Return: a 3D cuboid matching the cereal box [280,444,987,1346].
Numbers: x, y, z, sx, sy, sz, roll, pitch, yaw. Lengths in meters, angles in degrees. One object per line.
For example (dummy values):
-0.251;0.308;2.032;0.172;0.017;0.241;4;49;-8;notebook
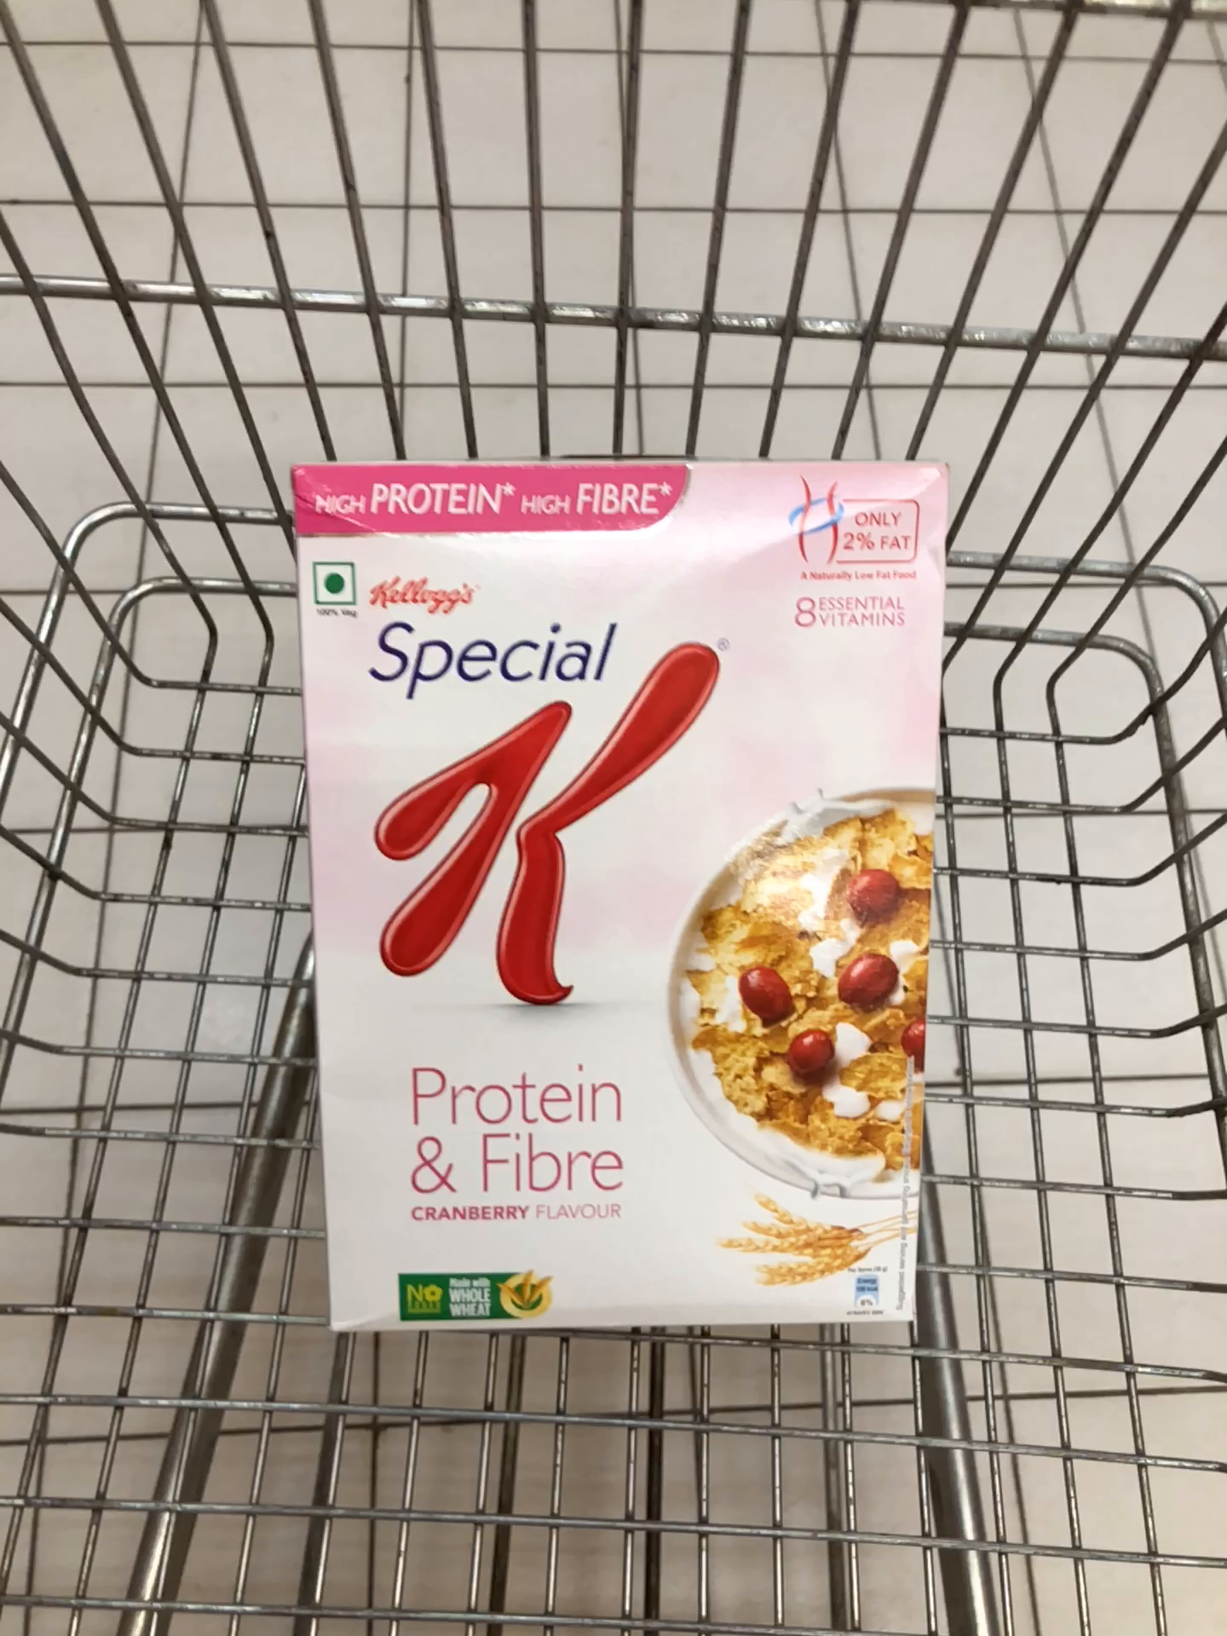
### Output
0.003;0.020;0.444;0.190;0.100;0.270;0;103;-3;cereal box
